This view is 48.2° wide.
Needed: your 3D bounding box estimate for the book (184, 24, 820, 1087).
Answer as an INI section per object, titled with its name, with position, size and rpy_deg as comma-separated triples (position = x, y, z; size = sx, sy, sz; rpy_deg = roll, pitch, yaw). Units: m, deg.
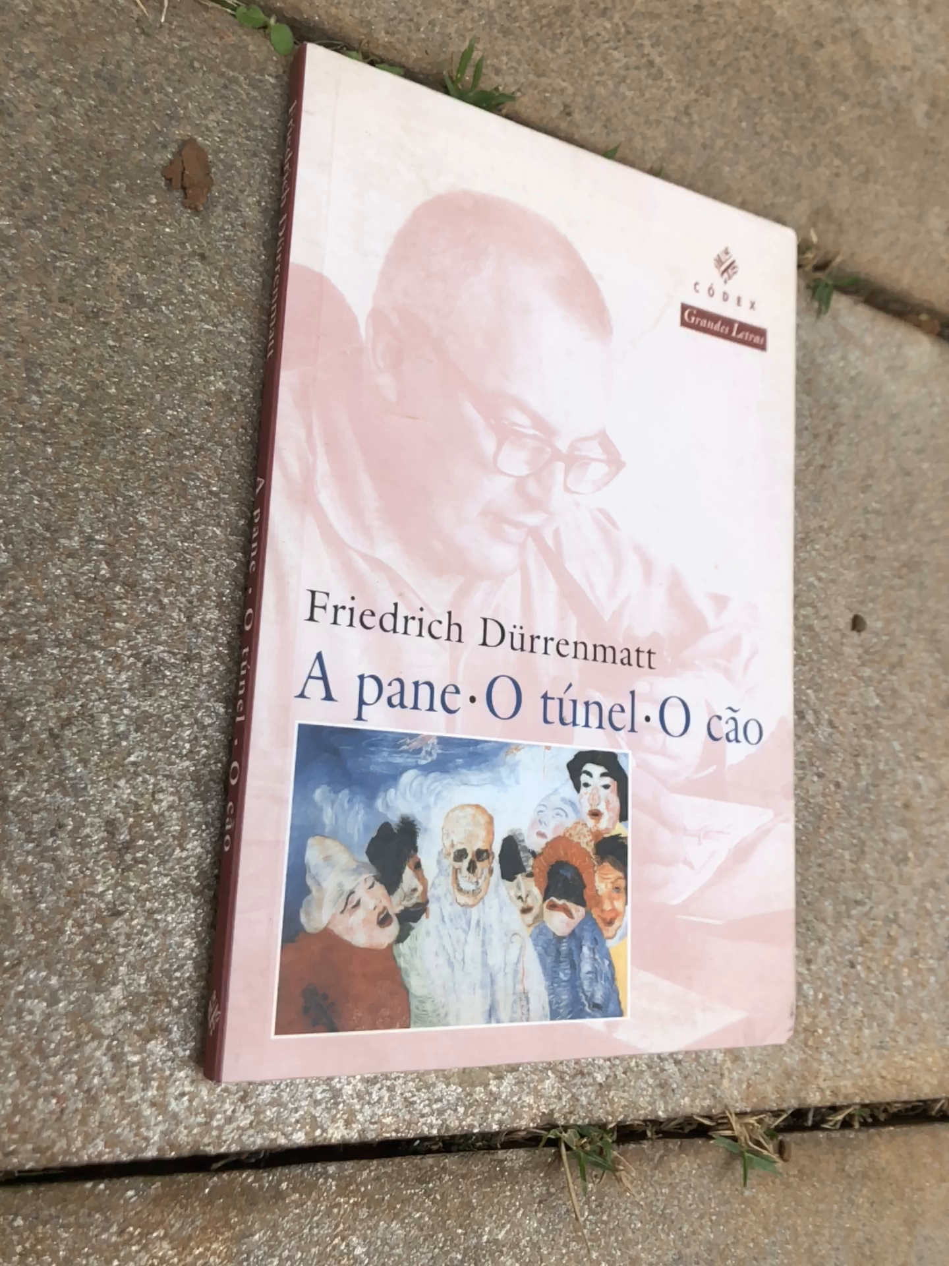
[book]
position = 0.019, -0.013, 0.232
size = 0.141, 0.015, 0.199
rpy_deg = 8, 79, -27
